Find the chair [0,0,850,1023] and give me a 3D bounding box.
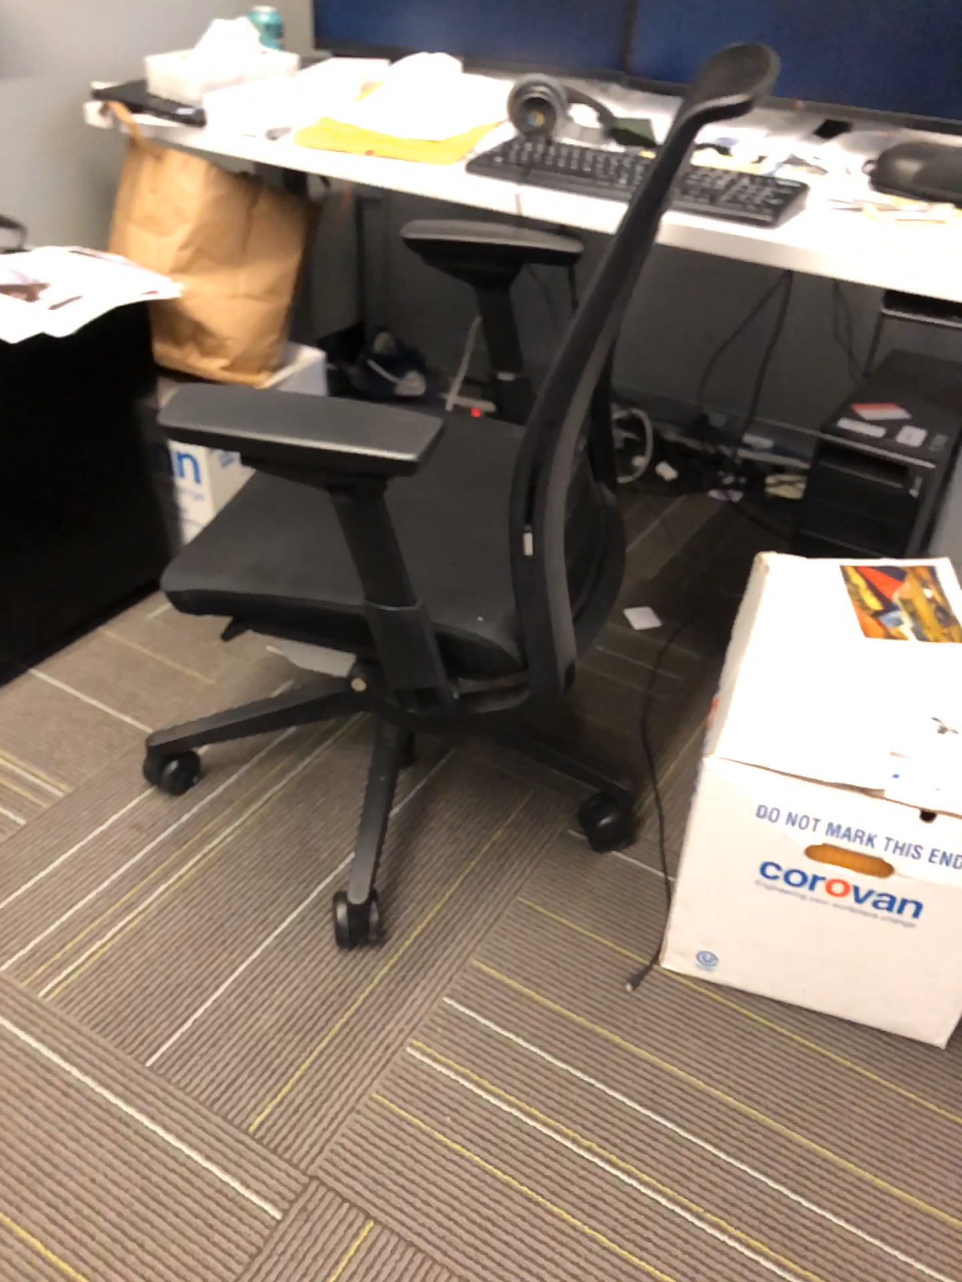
[{"bbox_3d":[-0.034,-0.224,1.360,0.700,0.994,0.784,10,35,9],"label":"chair"}]
